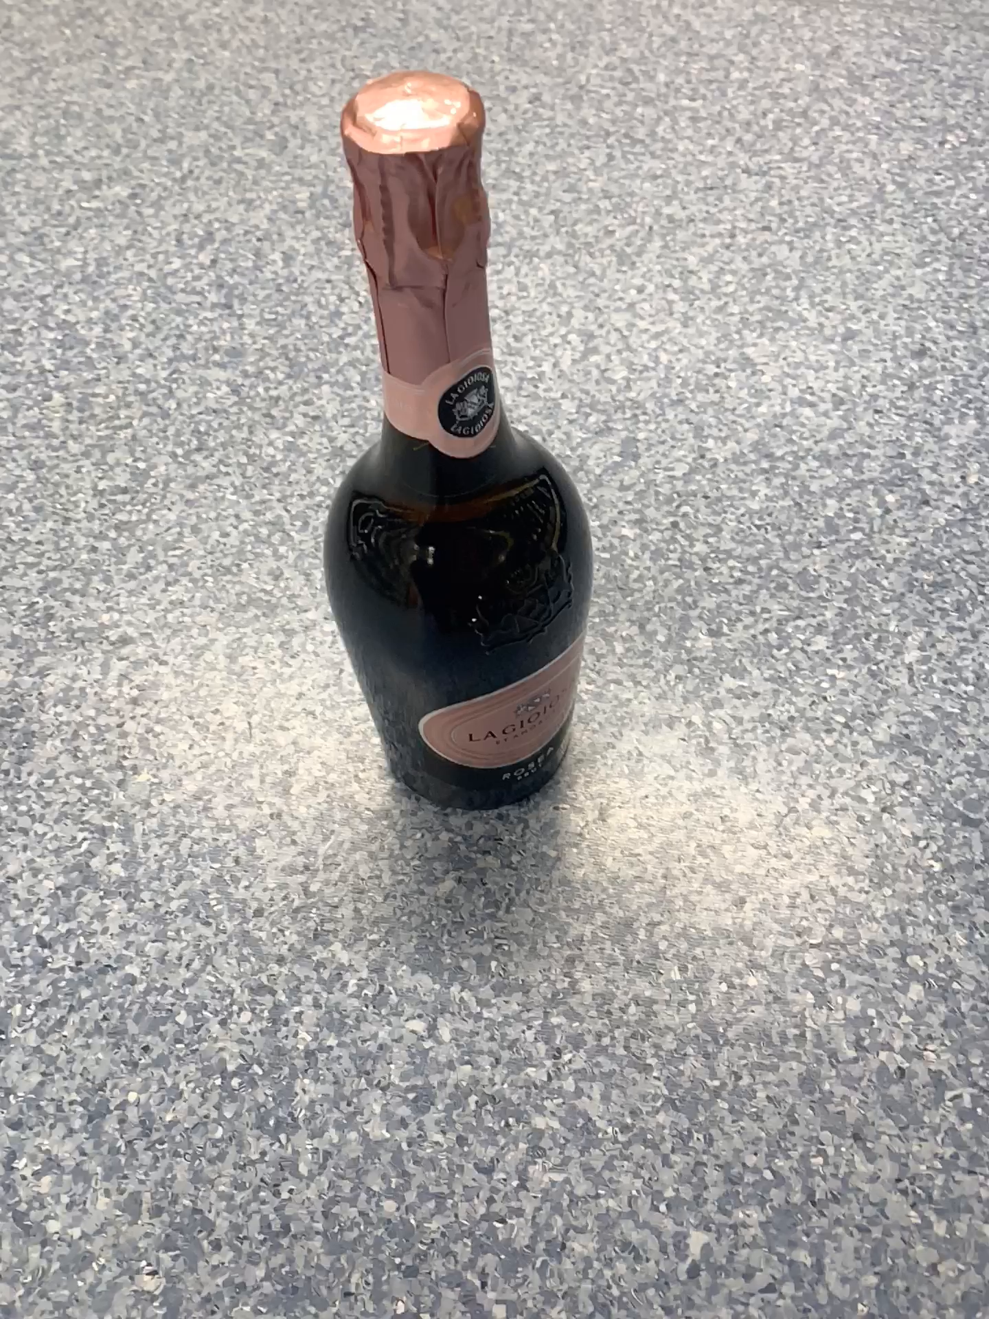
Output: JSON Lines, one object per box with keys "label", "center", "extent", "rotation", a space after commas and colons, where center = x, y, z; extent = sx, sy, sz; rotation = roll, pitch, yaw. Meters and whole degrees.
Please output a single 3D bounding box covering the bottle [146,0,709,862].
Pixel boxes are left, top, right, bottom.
{"label": "bottle", "center": [-0.011, -0.042, 0.329], "extent": [0.094, 0.269, 0.079], "rotation": [-30, 60, -16]}
